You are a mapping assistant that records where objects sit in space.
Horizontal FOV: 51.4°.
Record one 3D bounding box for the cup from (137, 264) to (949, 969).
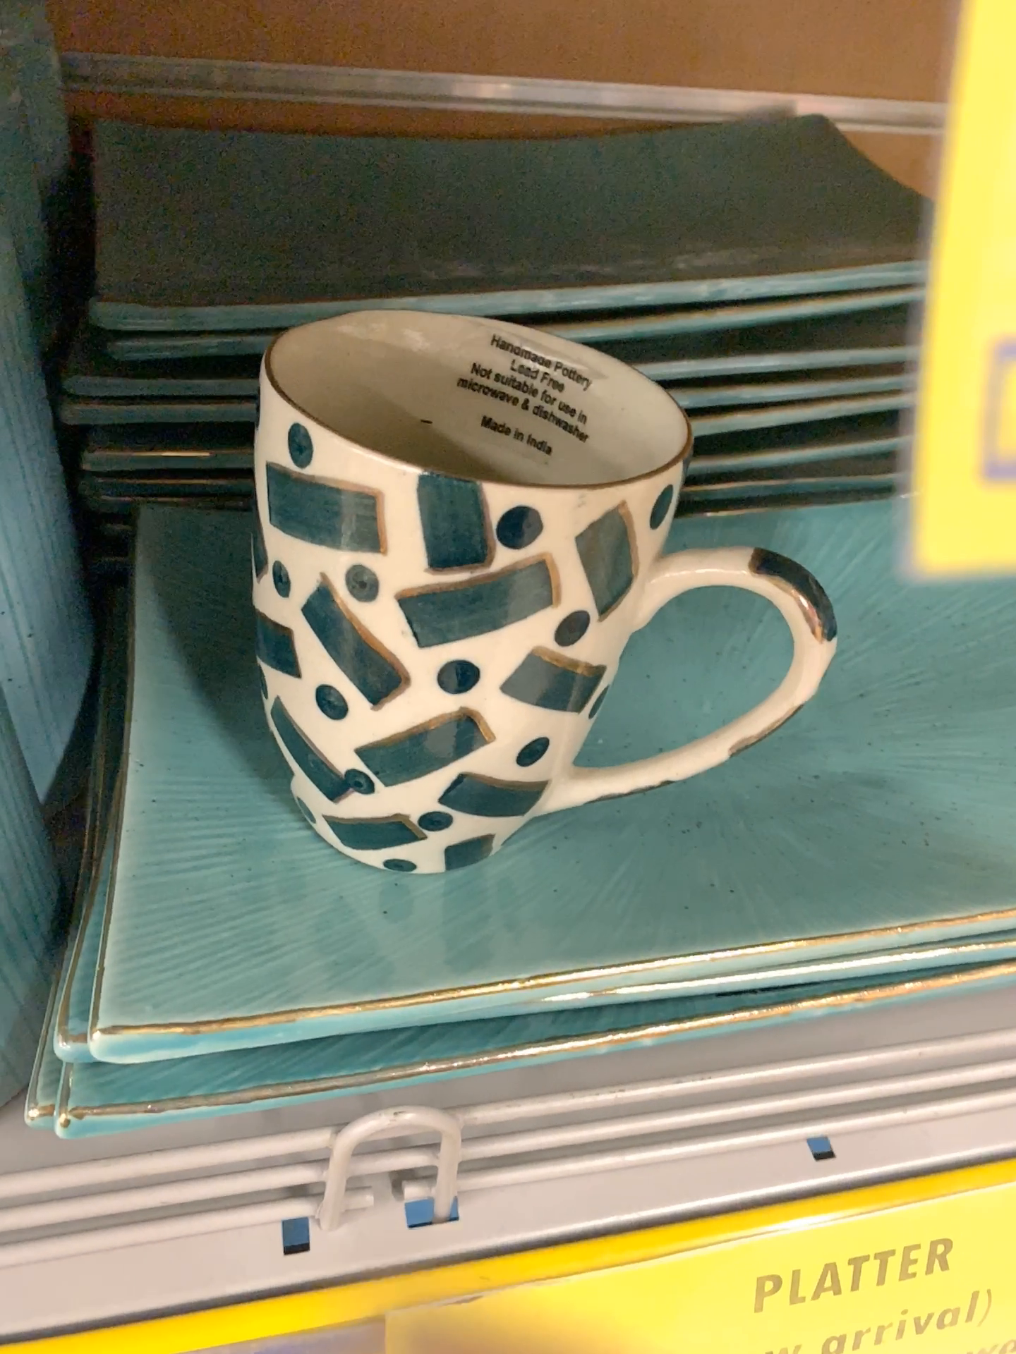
[{"bbox_3d":[0.001,-0.014,0.195,0.110,0.080,0.080,12,34,-2],"label":"cup"}]
